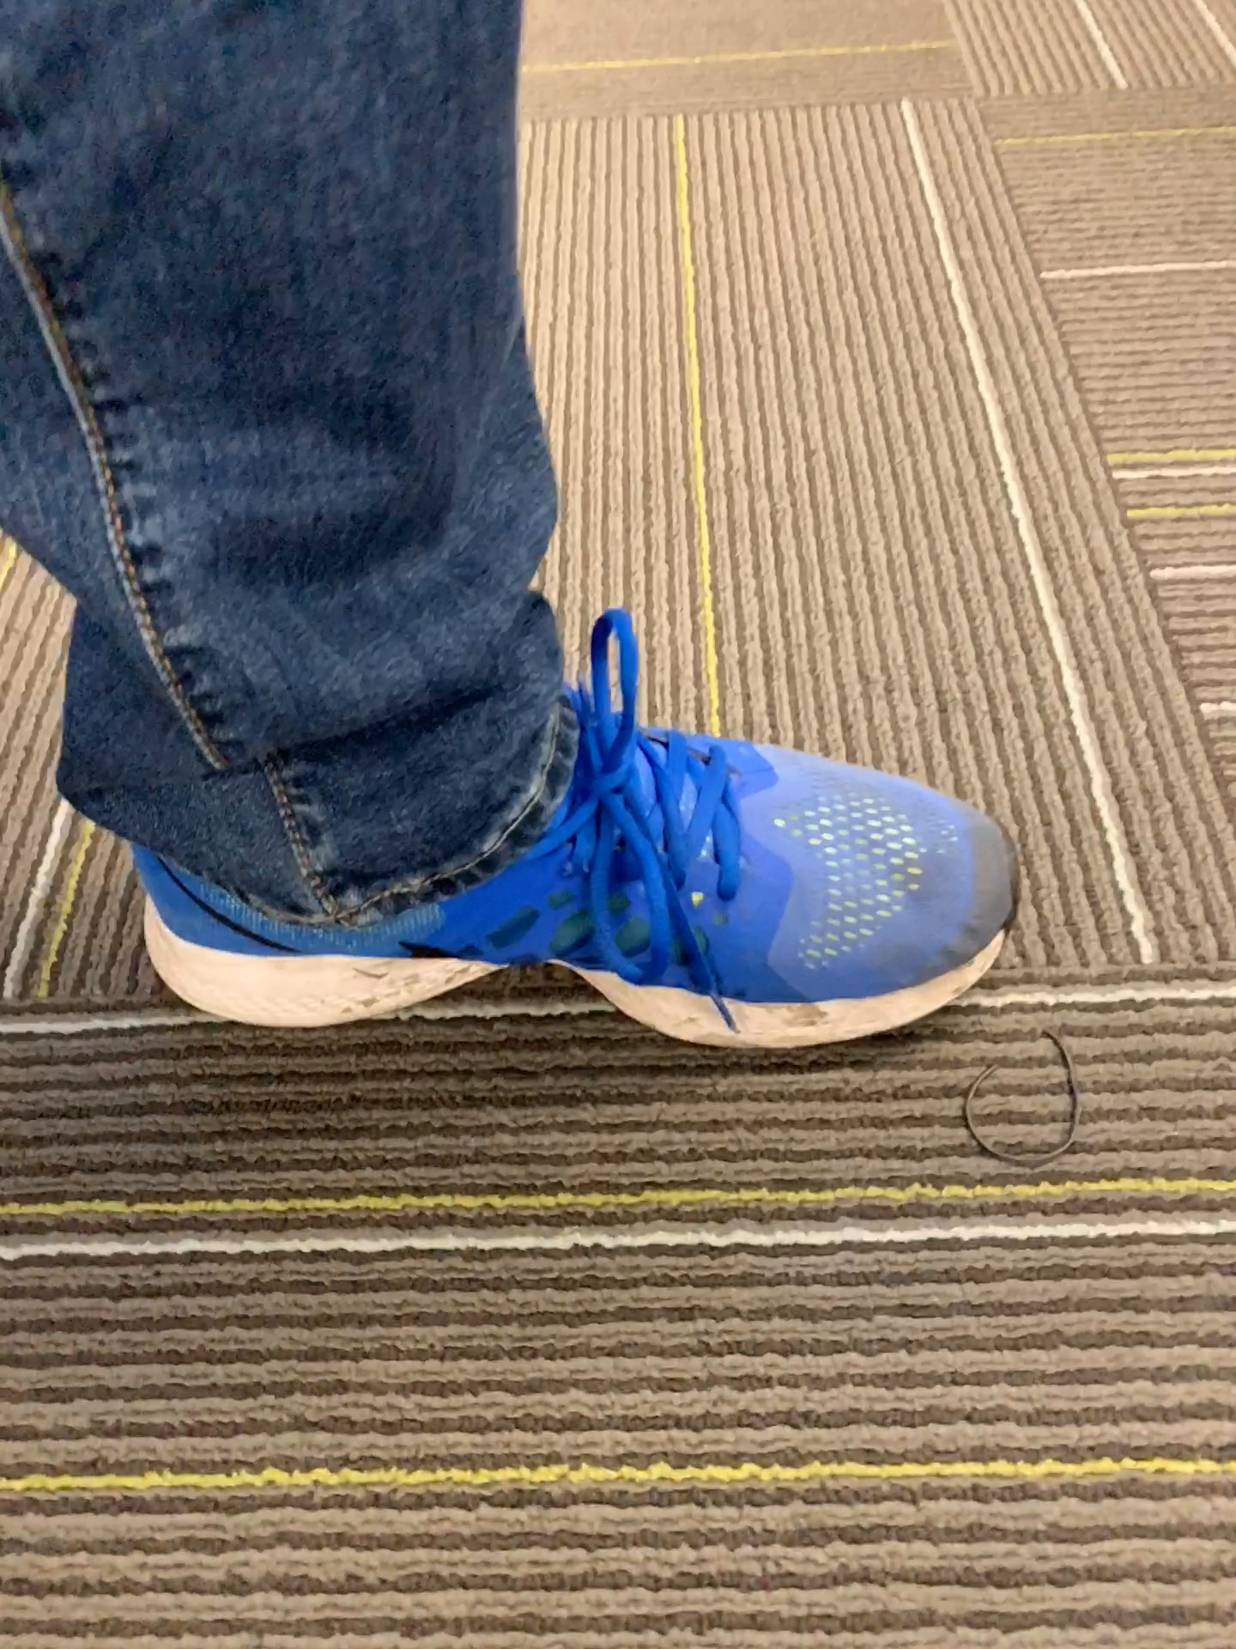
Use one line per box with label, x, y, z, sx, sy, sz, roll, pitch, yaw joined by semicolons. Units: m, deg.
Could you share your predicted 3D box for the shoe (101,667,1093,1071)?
shoe;-0.006;0.014;0.424;0.283;0.086;0.101;0;53;4
